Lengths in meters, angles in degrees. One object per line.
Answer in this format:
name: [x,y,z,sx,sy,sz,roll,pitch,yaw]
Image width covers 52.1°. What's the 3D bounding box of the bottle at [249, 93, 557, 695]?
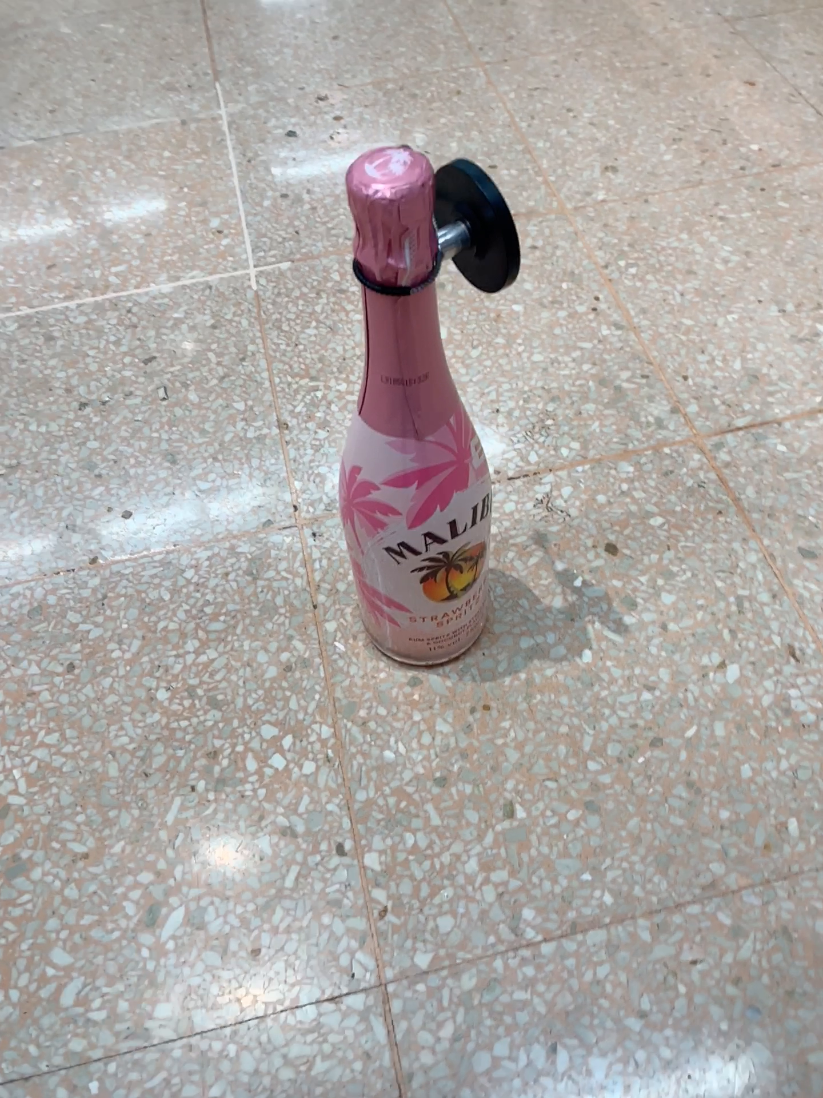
bottle: [0.004,-0.045,0.424,0.080,0.308,0.080,-2,54,3]
